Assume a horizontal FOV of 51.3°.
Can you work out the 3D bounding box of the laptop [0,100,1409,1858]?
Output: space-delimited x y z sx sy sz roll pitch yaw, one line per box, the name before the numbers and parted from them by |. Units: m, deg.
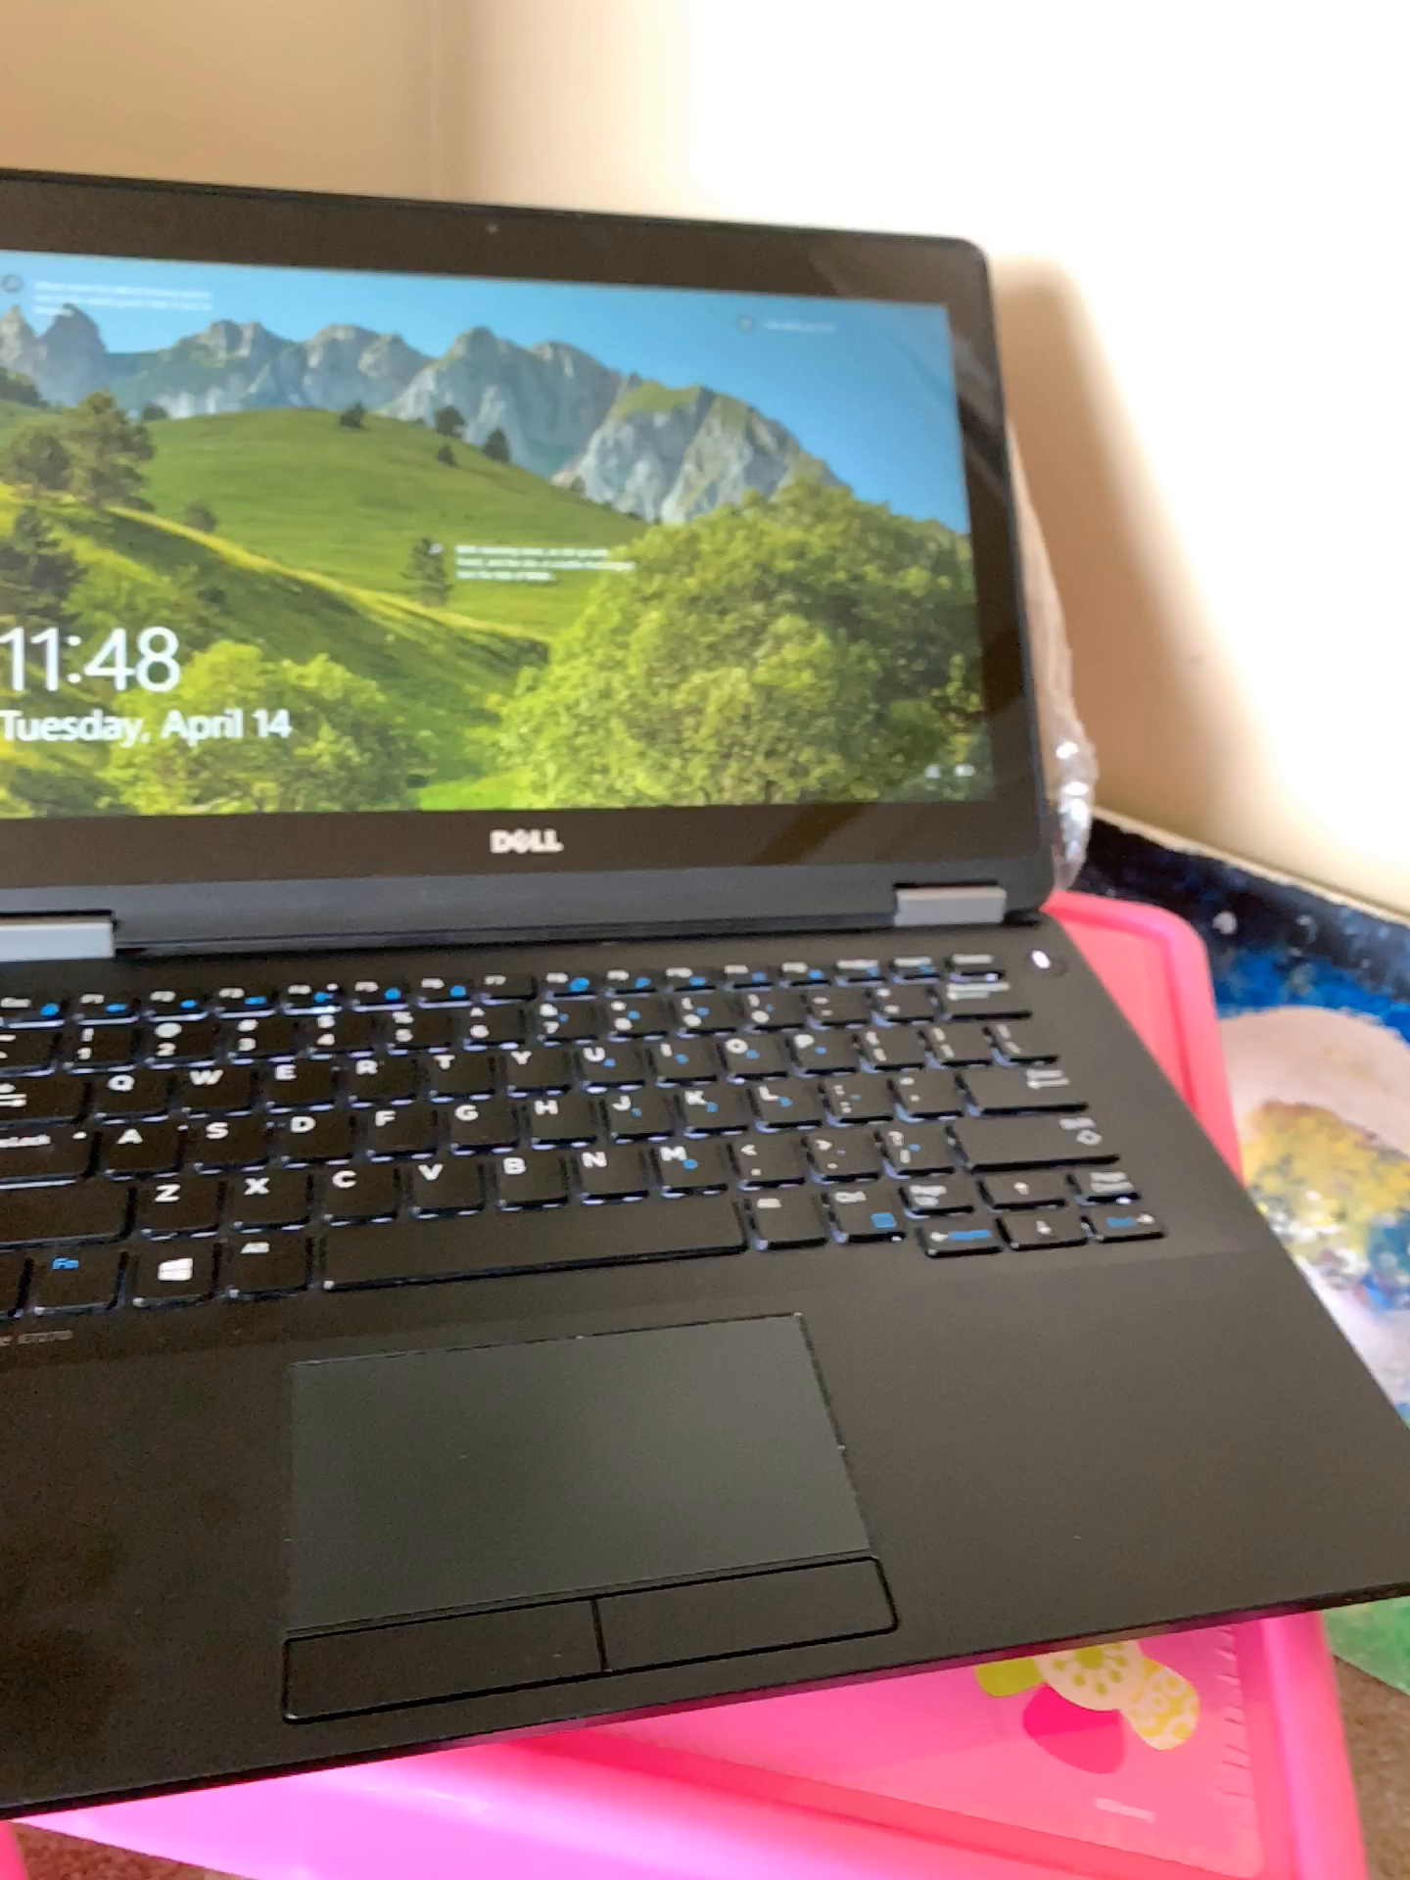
laptop | -0.027 -0.043 0.282 0.261 0.121 0.302 -2 41 -14
